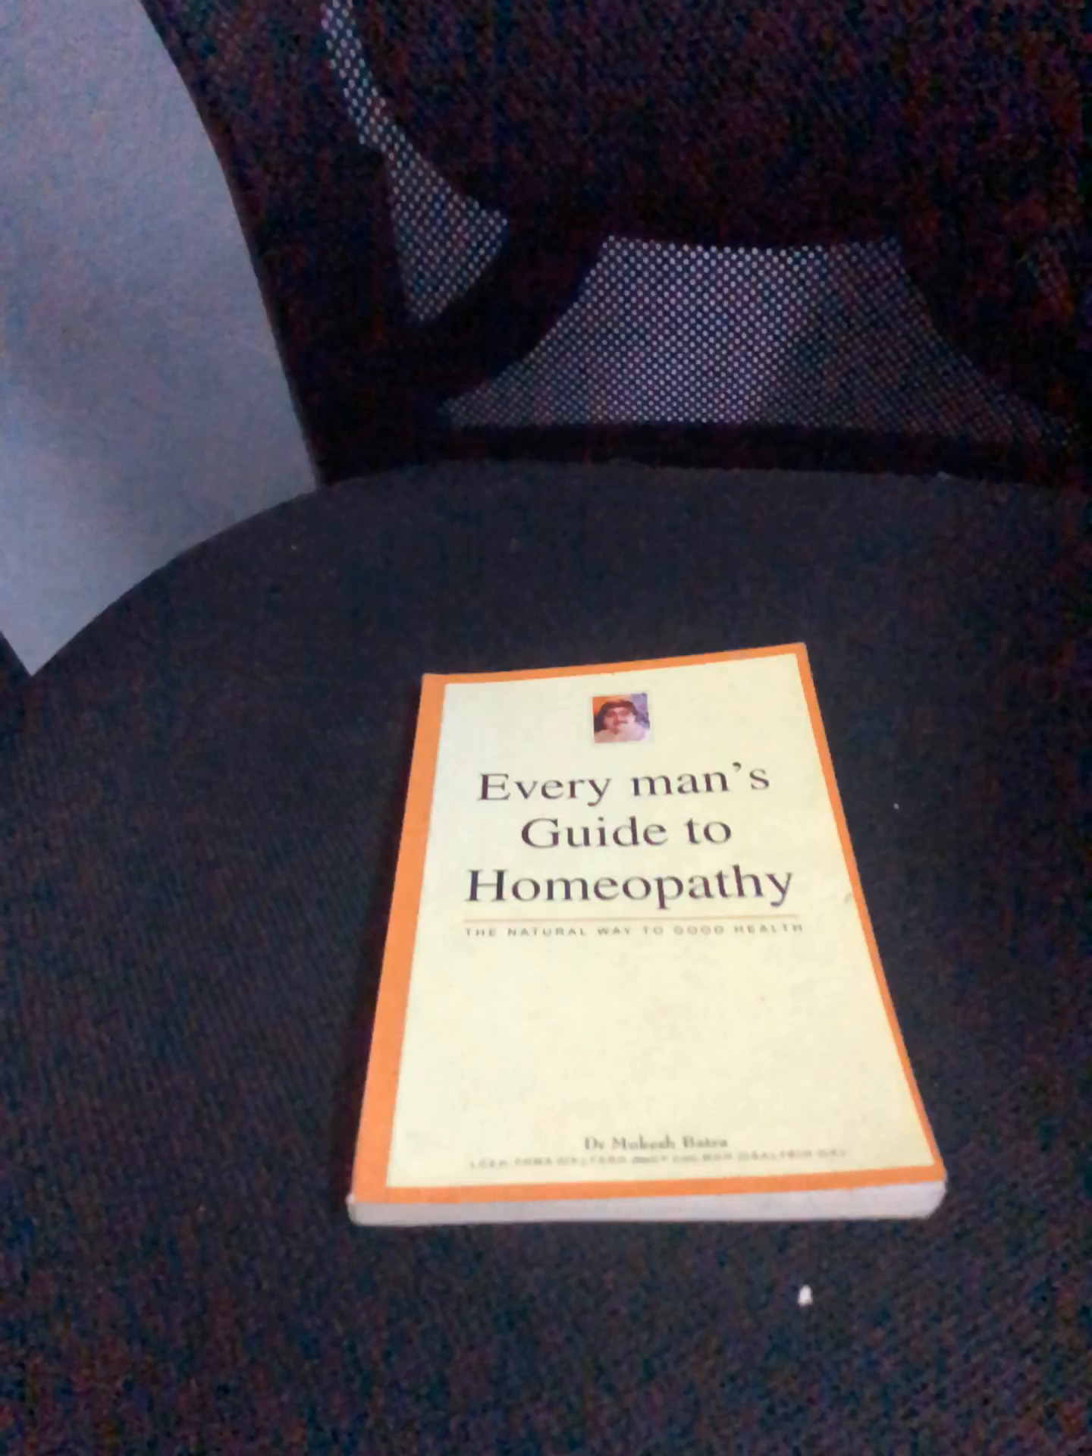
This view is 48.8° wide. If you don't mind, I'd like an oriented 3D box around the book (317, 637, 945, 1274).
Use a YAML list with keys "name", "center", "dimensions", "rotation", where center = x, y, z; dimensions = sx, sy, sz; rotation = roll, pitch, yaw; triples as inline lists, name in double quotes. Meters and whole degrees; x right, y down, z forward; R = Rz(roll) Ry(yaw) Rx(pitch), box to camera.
- name: "book"
  center: [0.020, 0.050, 0.356]
  dimensions: [0.140, 0.026, 0.208]
  rotation: [-4, 40, 4]
